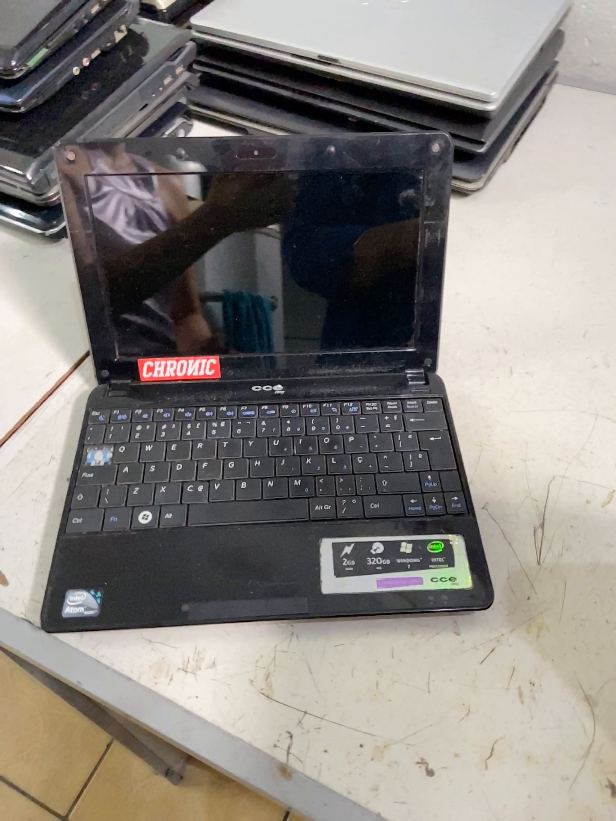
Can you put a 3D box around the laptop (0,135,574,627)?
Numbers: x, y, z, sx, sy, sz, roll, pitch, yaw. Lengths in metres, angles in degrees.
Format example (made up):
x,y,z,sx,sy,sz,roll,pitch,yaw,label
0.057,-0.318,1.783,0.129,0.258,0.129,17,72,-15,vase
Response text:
x,y,z,sx,sy,sz,roll,pitch,yaw,label
-0.024,-0.028,0.383,0.253,0.137,0.258,-2,53,-1,laptop
